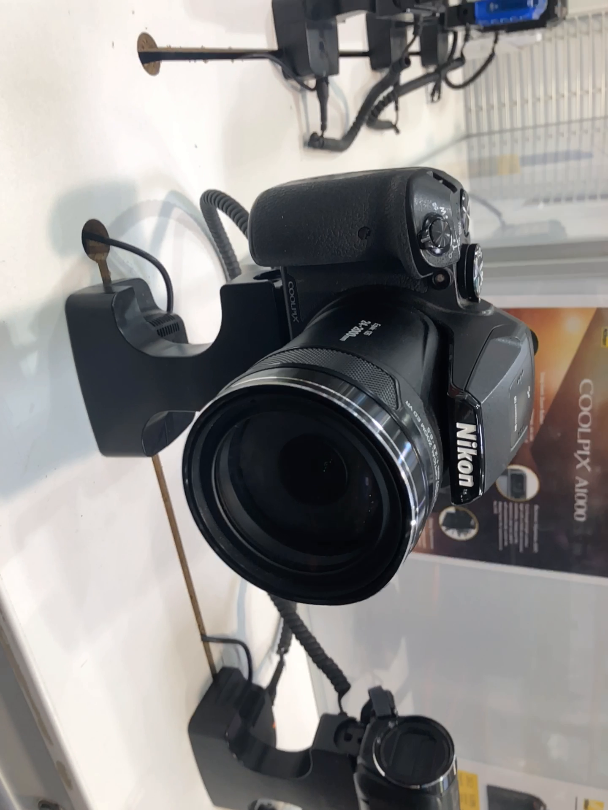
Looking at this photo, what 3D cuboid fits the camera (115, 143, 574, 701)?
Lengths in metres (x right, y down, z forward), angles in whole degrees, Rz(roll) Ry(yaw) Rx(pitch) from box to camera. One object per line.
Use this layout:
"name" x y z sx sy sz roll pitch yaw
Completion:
"camera" 0.037 -0.012 0.249 0.151 0.109 0.140 -46 133 -58
